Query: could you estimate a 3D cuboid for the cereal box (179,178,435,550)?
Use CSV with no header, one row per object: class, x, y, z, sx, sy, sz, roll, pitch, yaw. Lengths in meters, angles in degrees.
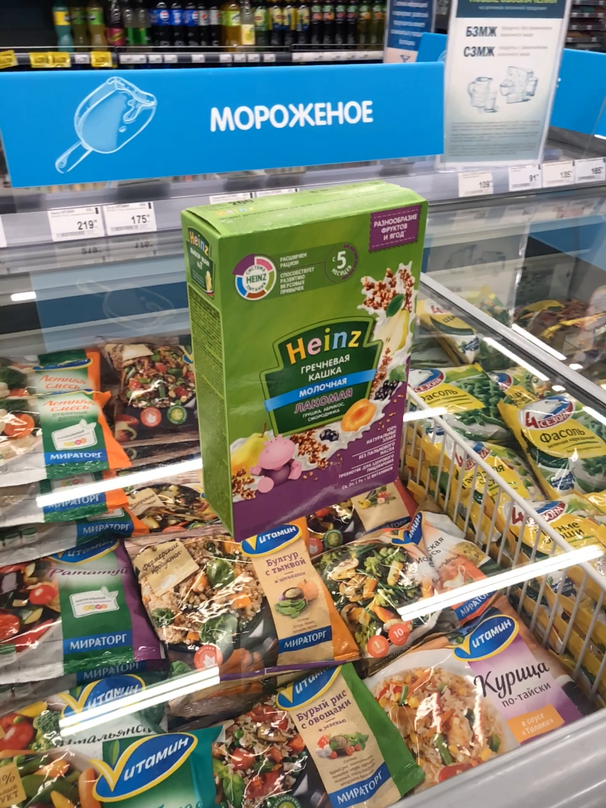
cereal box,0.003,-0.023,0.406,0.130,0.199,0.050,-17,36,-27
